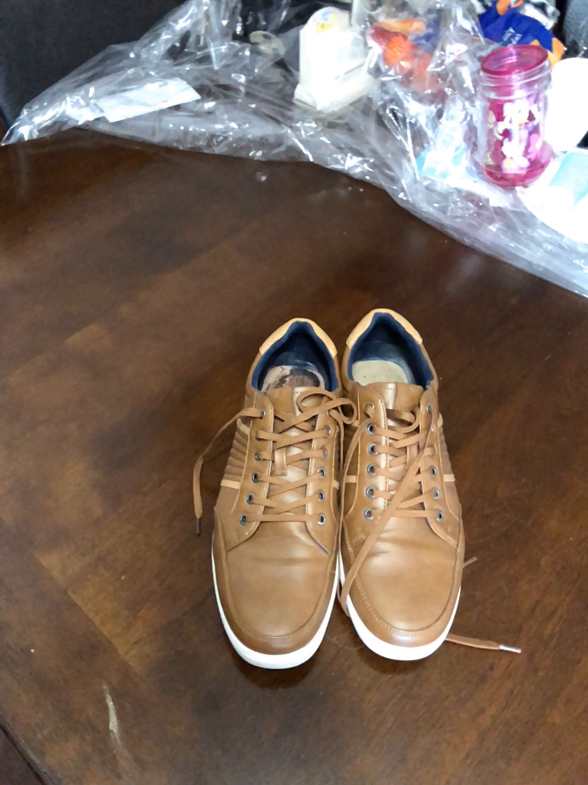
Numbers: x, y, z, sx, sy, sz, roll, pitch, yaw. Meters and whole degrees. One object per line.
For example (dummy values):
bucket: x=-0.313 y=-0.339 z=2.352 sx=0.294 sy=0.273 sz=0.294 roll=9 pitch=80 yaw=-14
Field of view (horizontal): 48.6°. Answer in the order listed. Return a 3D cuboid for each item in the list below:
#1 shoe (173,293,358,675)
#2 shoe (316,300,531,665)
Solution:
shoe: x=-0.015 y=0.054 z=0.508 sx=0.110 sy=0.080 sz=0.291 roll=2 pitch=51 yaw=-1
shoe: x=0.086 y=0.056 z=0.533 sx=0.110 sy=0.080 sz=0.291 roll=-2 pitch=52 yaw=-3
